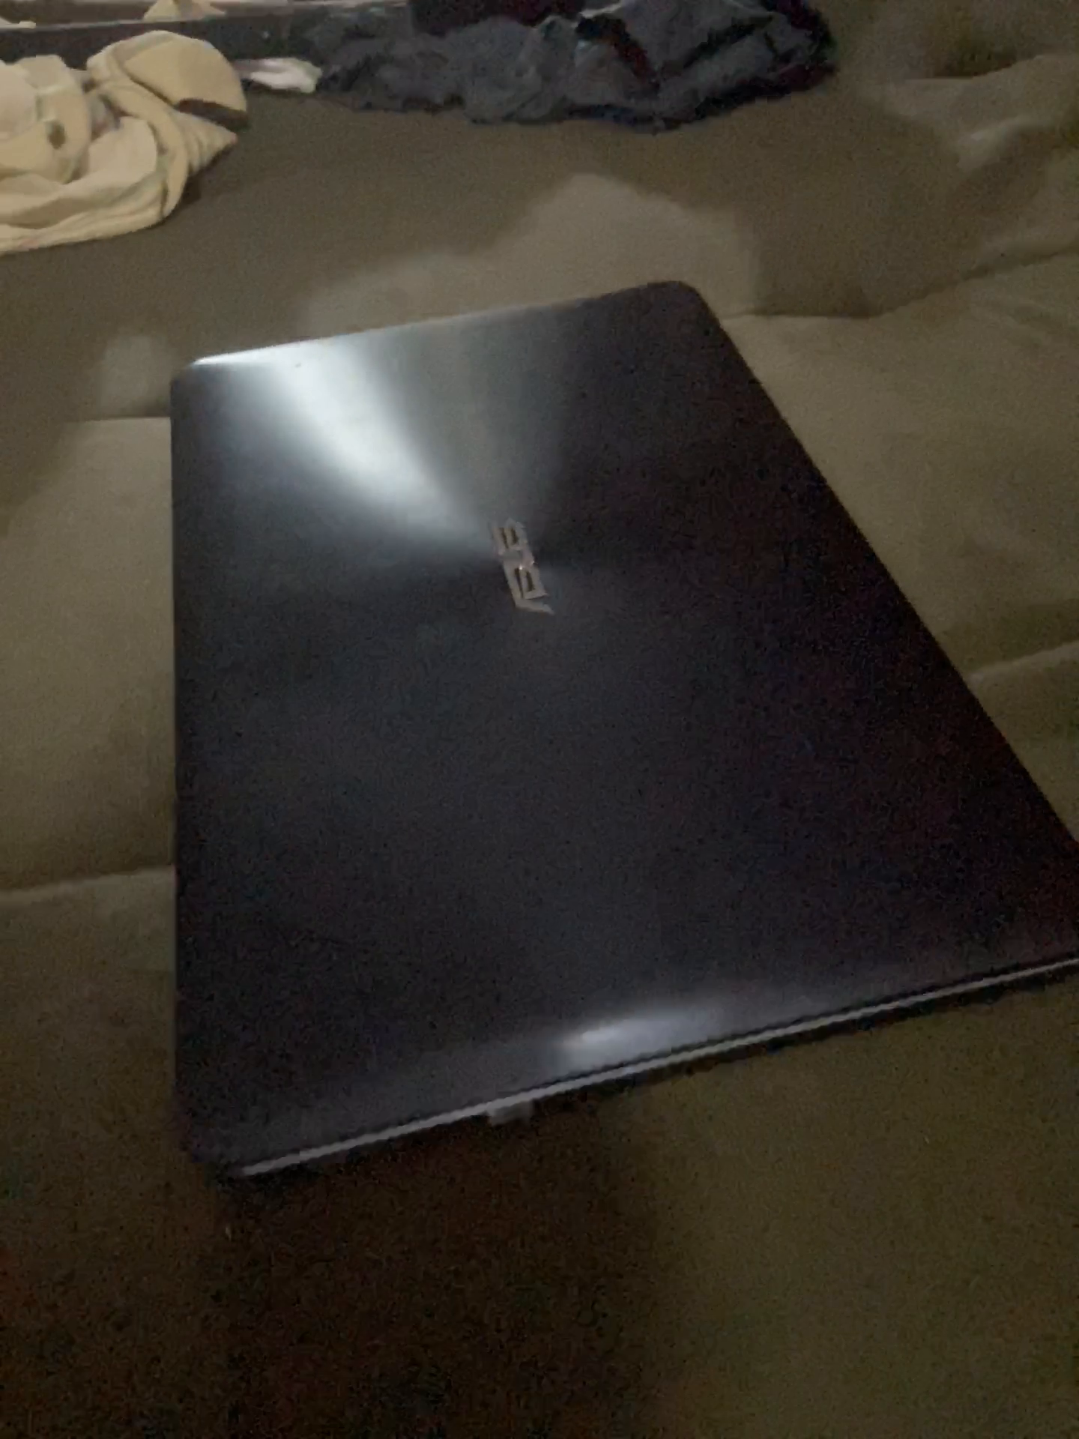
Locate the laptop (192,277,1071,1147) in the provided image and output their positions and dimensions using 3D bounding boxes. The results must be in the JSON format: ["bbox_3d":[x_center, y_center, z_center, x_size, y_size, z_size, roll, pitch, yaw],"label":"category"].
[{"bbox_3d":[-0.009,-0.054,0.410,0.234,0.004,0.371,-12,49,-5],"label":"laptop"}]
